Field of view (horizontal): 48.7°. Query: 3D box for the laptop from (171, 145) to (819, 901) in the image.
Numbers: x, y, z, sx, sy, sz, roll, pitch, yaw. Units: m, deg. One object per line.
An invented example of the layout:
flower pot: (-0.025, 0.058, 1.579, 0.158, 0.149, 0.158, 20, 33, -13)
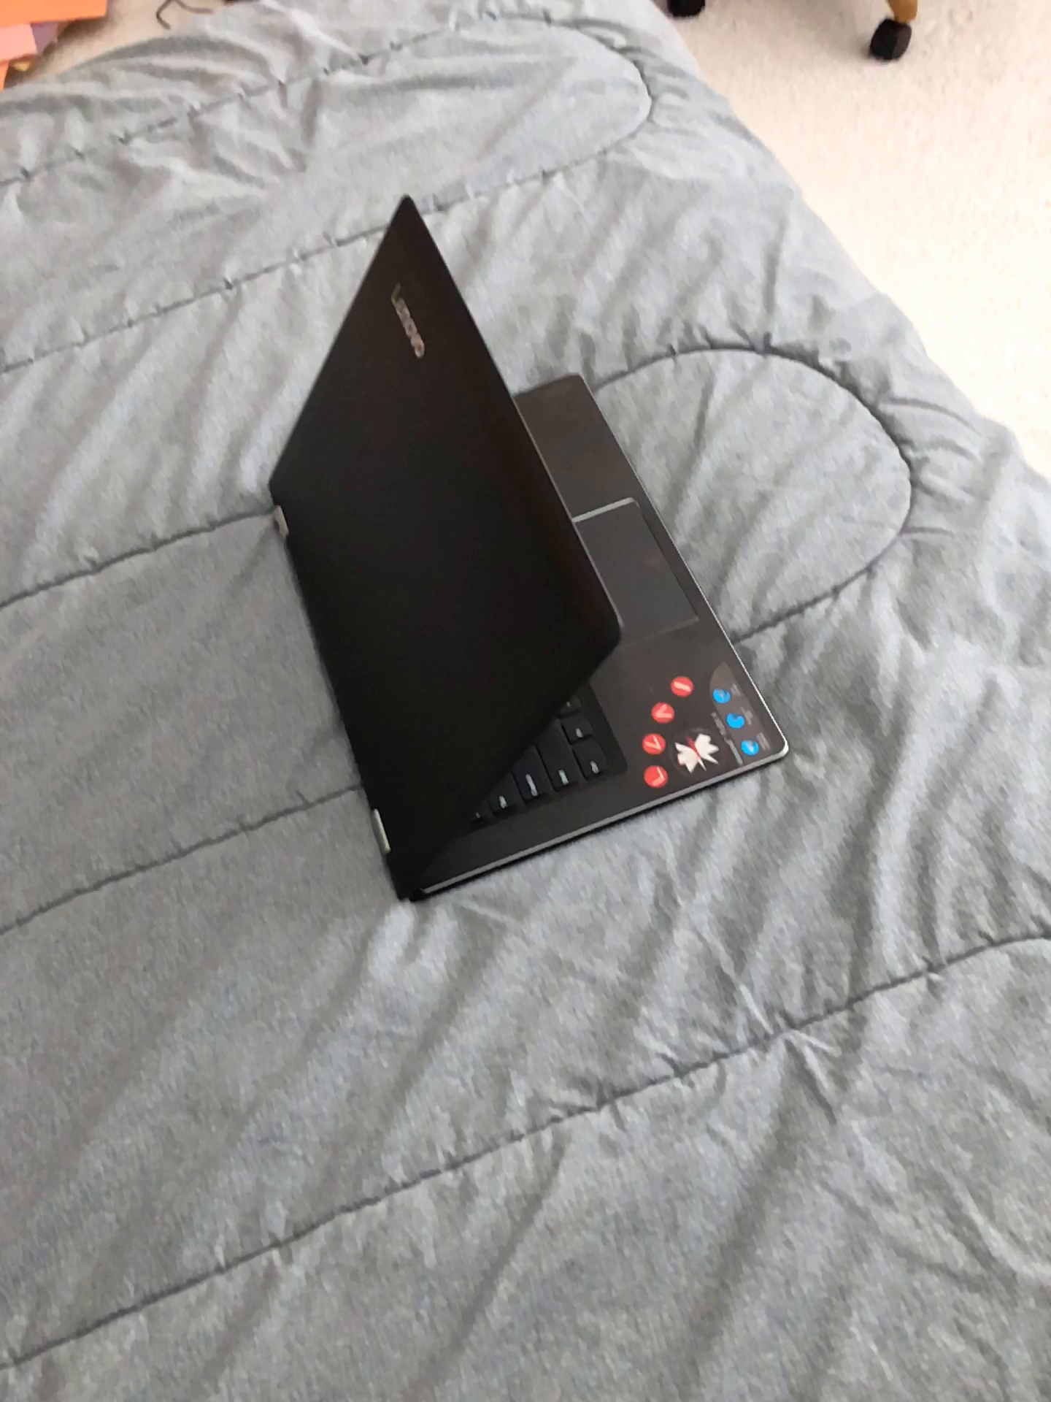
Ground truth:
laptop: (-0.026, -0.098, 0.608, 0.214, 0.168, 0.305, -21, 59, -4)
